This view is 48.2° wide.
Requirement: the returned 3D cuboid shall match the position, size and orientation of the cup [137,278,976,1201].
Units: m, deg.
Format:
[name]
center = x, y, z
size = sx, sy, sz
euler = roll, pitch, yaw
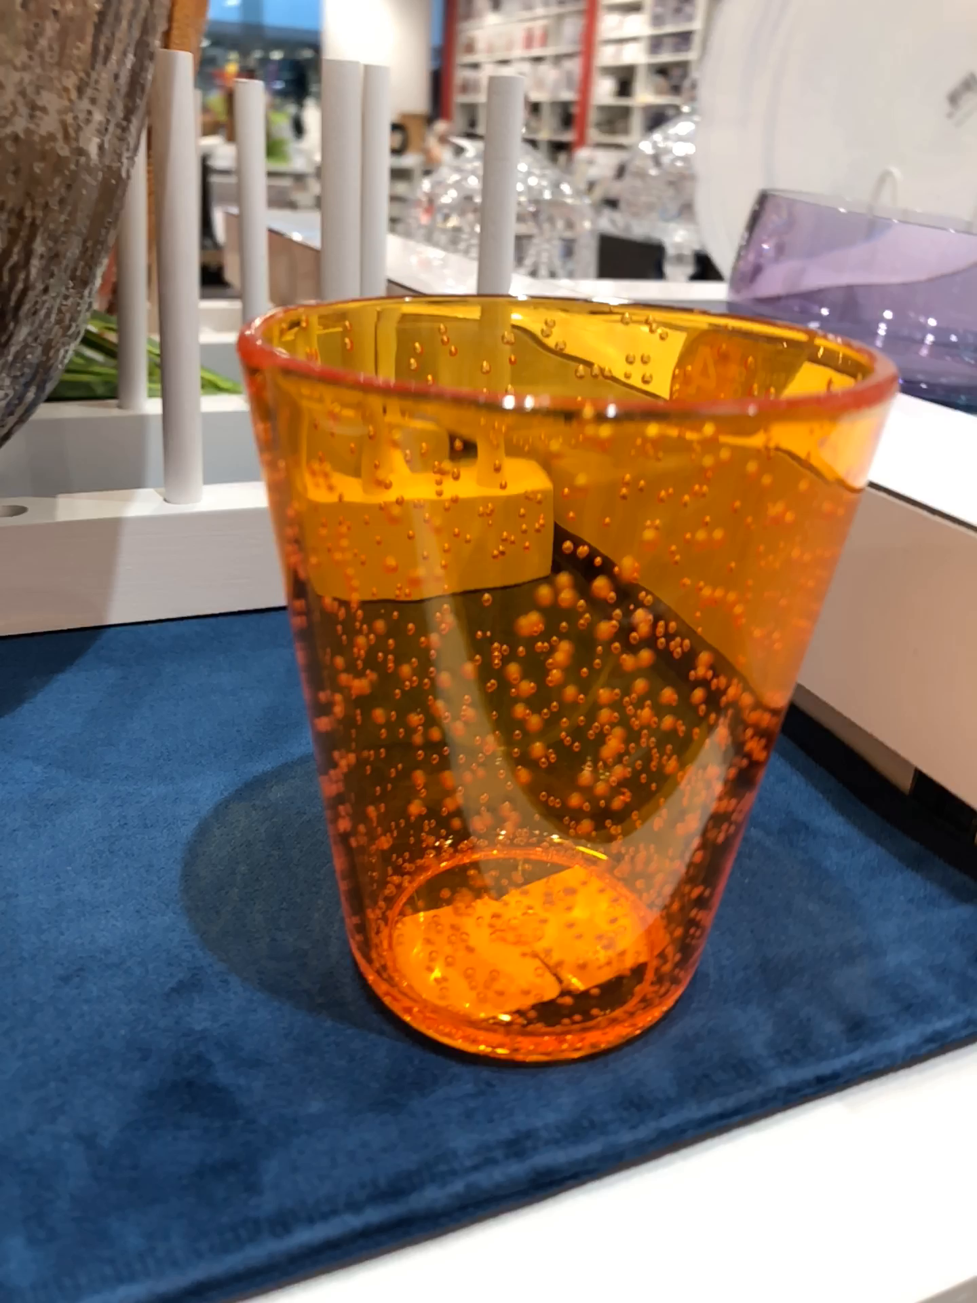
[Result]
[cup]
center = 0.006, 0.000, 0.152
size = 0.080, 0.090, 0.070
euler = -14, 30, -34
